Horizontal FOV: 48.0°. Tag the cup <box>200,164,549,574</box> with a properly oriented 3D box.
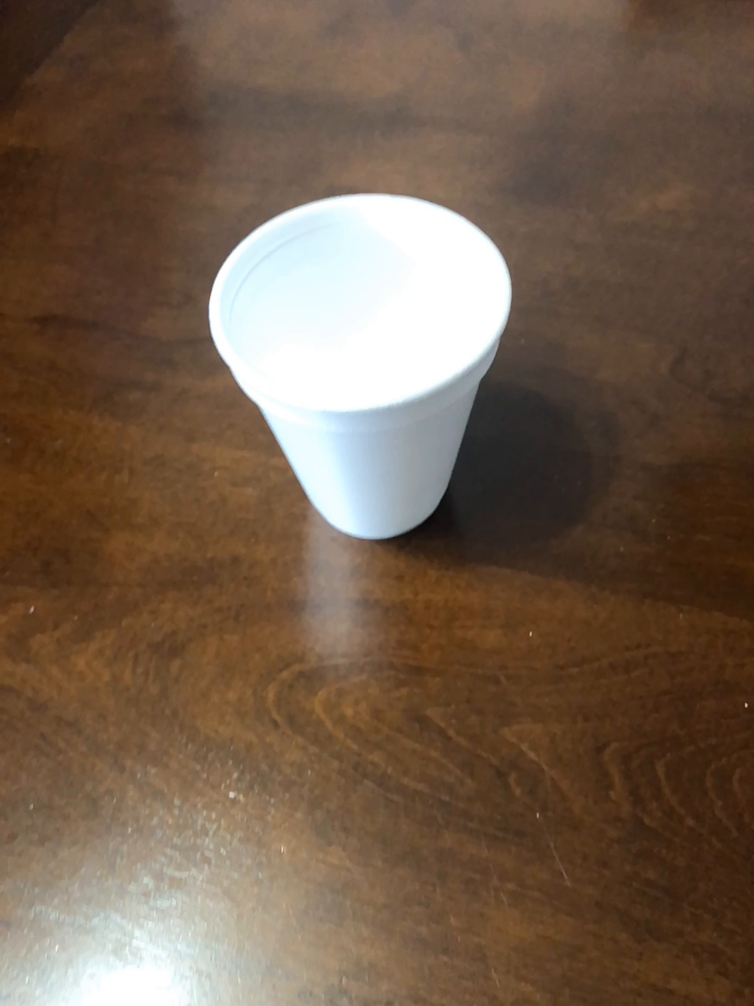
[{"bbox_3d":[-0.001,-0.037,0.249,0.080,0.080,0.080,-2,56,3],"label":"cup"}]
